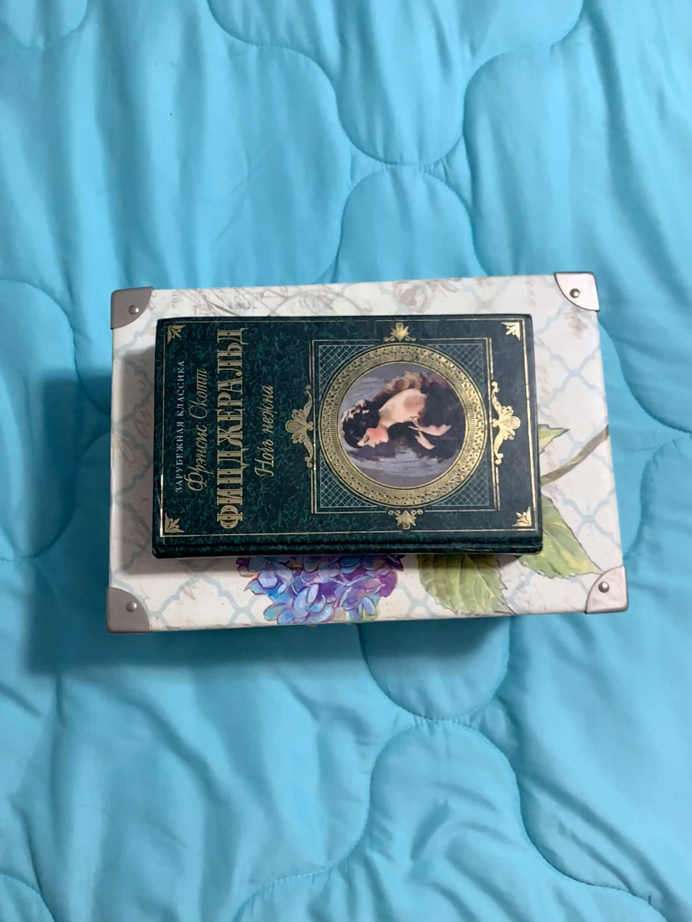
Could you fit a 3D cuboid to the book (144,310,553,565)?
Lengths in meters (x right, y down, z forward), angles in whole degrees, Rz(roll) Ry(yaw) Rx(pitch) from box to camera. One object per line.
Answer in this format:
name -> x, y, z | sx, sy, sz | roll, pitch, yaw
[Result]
book -> 0.001, -0.013, 0.407 | 0.220, 0.030, 0.140 | -1, 81, -1
